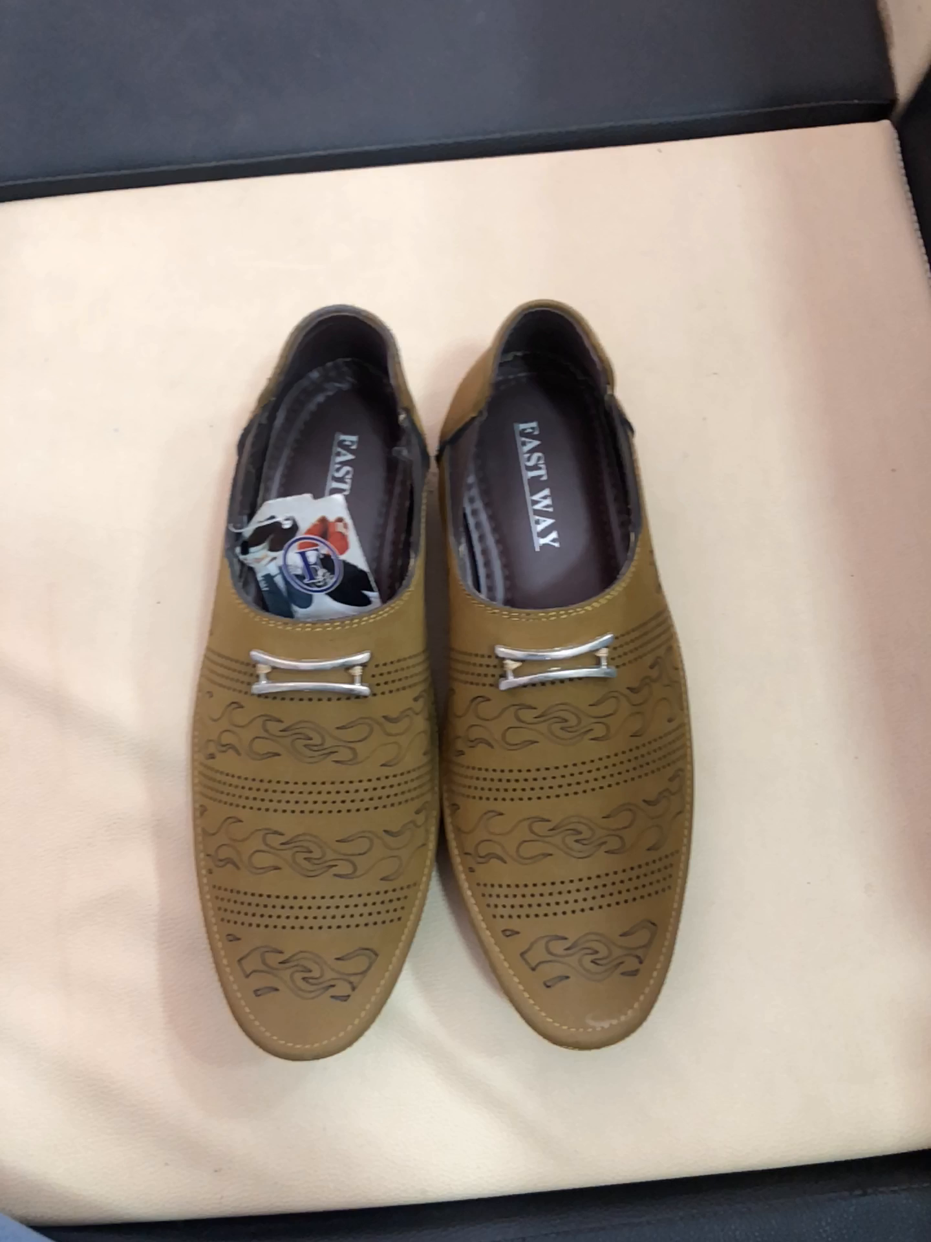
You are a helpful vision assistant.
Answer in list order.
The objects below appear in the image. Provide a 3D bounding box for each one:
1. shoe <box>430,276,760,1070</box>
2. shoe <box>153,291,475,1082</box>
[{"bbox_3d":[0.045,0.019,0.415,0.100,0.100,0.280,-3,78,4],"label":"shoe"},{"bbox_3d":[-0.055,0.024,0.417,0.100,0.100,0.280,-3,78,4],"label":"shoe"}]
